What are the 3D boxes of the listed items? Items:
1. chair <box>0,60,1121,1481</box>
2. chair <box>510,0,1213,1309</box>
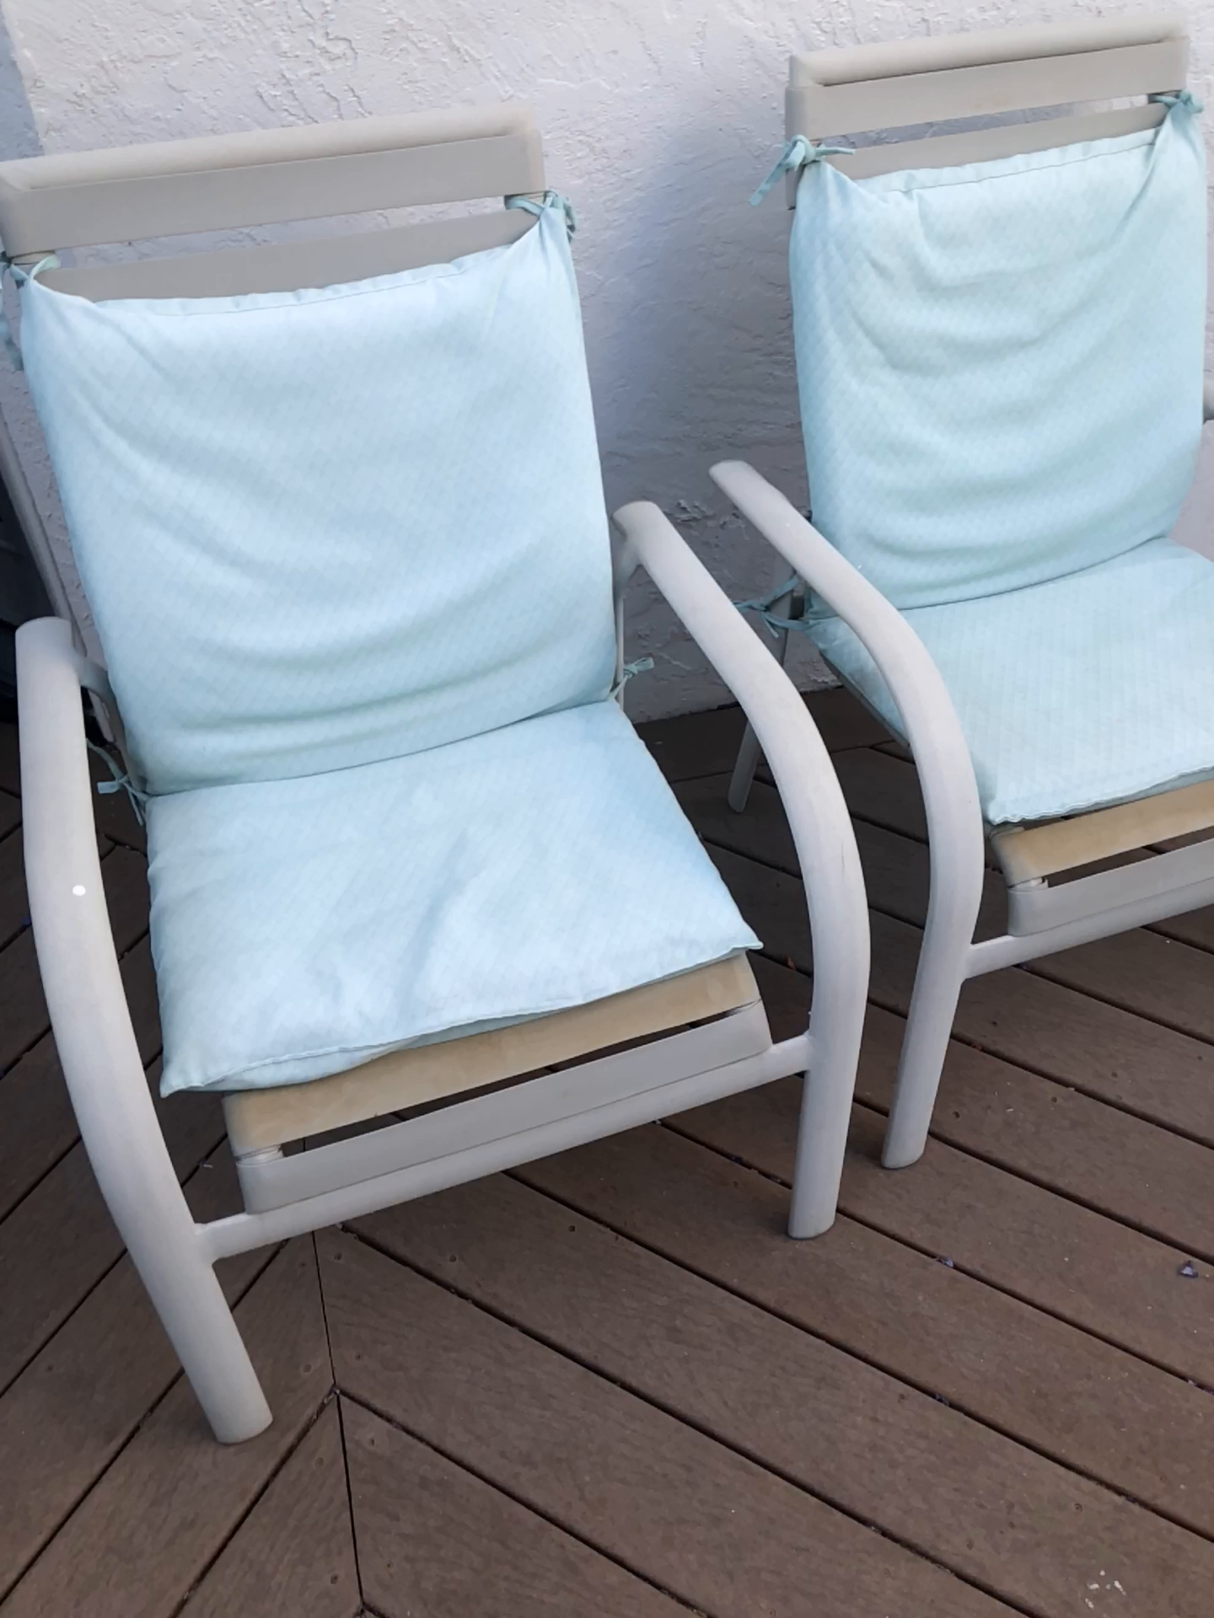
[{"bbox_3d":[-0.167,-0.036,1.279,0.701,0.965,0.783,-14,47,-14],"label":"chair"},{"bbox_3d":[0.433,-0.169,1.715,0.841,1.273,0.874,-14,47,-14],"label":"chair"}]
